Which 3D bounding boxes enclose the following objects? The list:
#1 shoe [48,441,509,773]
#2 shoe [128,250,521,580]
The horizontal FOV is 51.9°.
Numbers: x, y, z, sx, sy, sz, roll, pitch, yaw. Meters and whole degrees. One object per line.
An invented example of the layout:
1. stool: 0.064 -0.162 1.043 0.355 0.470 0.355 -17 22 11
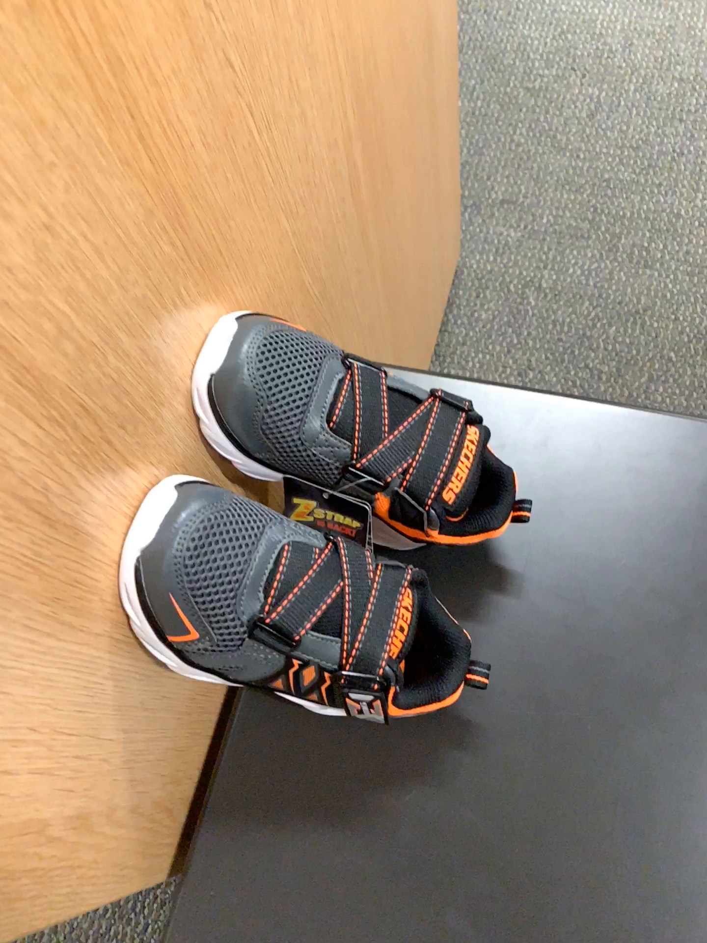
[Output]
1. shoe: -0.025 0.068 0.348 0.100 0.180 0.090 0 64 46
2. shoe: -0.007 -0.019 0.400 0.100 0.180 0.090 0 64 46
